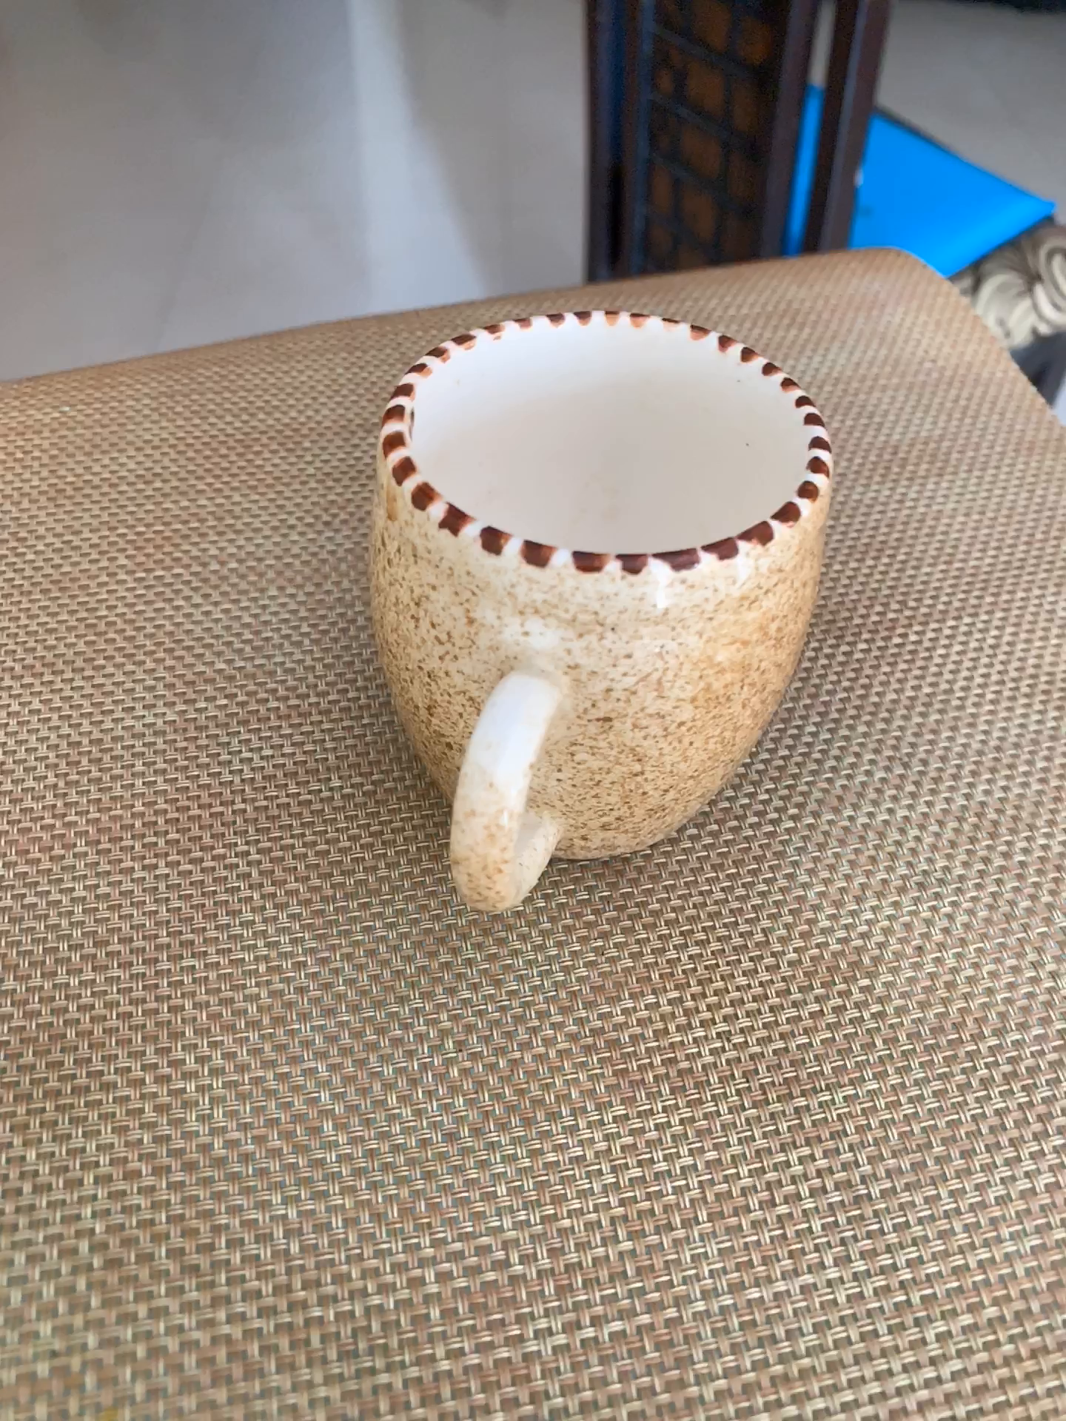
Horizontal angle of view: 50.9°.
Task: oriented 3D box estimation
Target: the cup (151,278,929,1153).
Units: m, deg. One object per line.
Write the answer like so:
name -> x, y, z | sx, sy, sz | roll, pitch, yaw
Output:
cup -> 0.007, -0.003, 0.165 | 0.070, 0.070, 0.091 | 17, 50, 12
